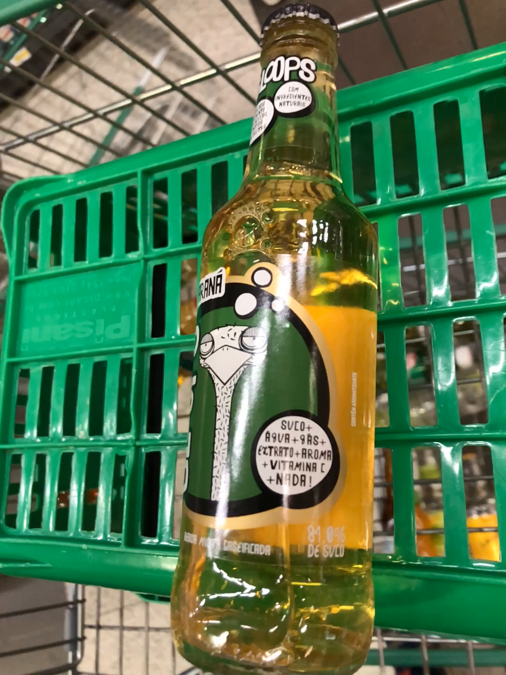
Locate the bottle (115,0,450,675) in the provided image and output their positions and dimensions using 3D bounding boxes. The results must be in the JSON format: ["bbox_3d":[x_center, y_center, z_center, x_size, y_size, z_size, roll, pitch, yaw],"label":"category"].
[{"bbox_3d":[0.014,-0.011,0.171,0.070,0.060,0.220,-4,78,28],"label":"bottle"}]
